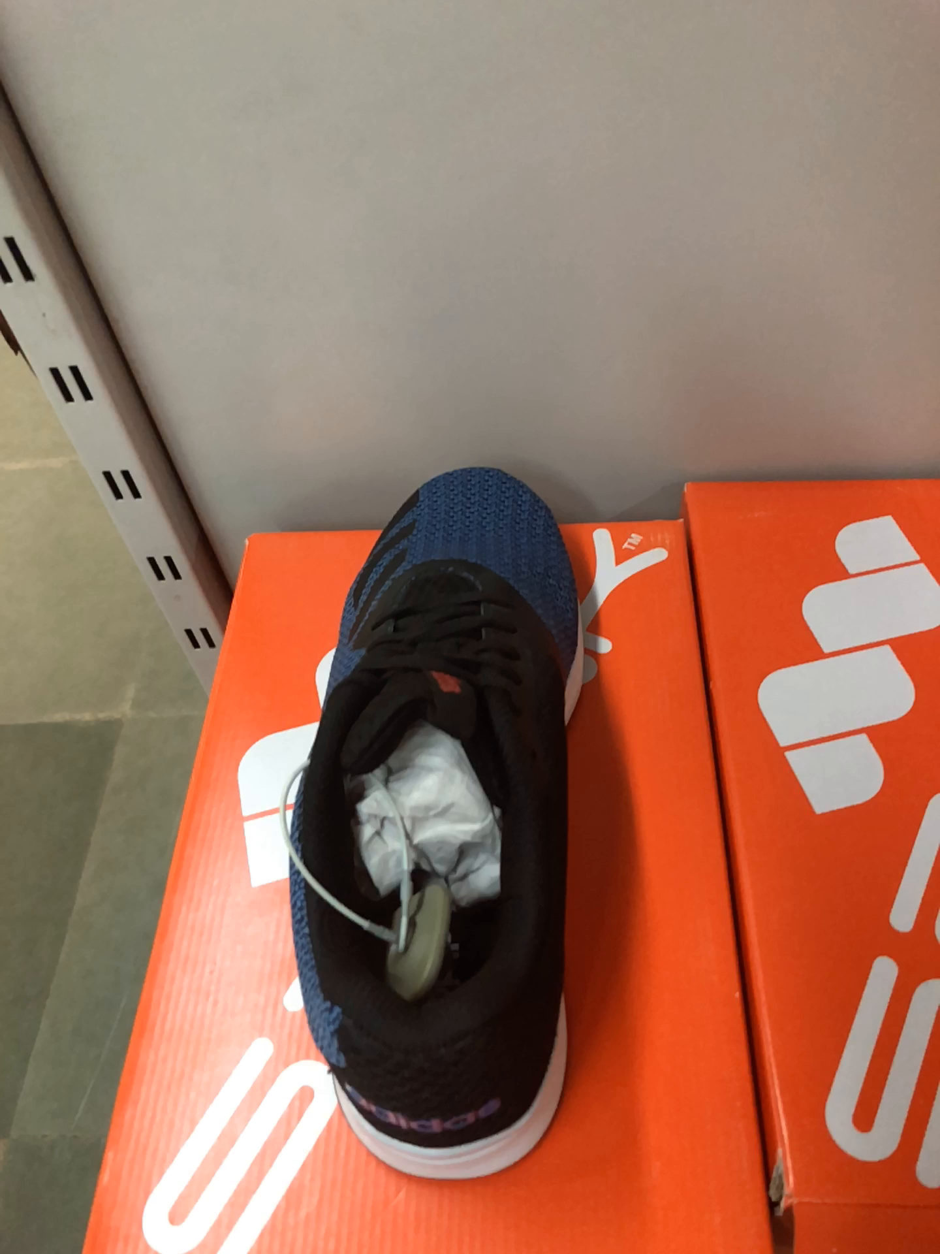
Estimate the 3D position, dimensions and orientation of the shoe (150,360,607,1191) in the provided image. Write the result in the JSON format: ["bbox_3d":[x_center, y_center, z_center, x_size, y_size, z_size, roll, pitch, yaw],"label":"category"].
[{"bbox_3d":[-0.012,0.044,0.367,0.105,0.135,0.255,-3,51,6],"label":"shoe"}]
